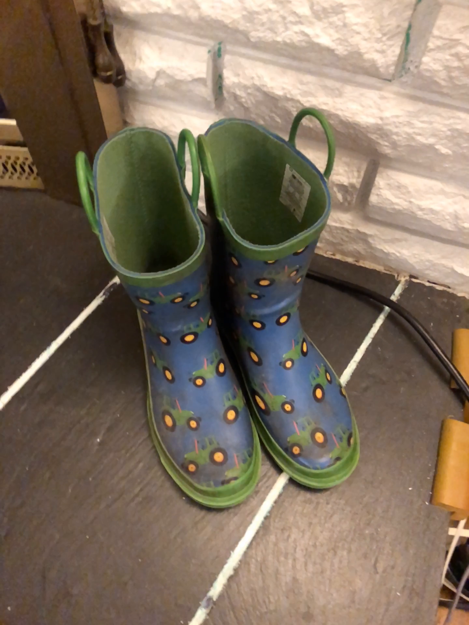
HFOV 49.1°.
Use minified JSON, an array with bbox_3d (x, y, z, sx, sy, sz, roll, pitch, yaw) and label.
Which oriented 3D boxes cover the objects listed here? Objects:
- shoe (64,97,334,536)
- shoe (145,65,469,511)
[{"bbox_3d":[-0.034,0.021,0.390,0.100,0.239,0.231,-13,62,-8],"label":"shoe"},{"bbox_3d":[0.038,-0.003,0.394,0.100,0.229,0.241,-23,64,-13],"label":"shoe"}]
